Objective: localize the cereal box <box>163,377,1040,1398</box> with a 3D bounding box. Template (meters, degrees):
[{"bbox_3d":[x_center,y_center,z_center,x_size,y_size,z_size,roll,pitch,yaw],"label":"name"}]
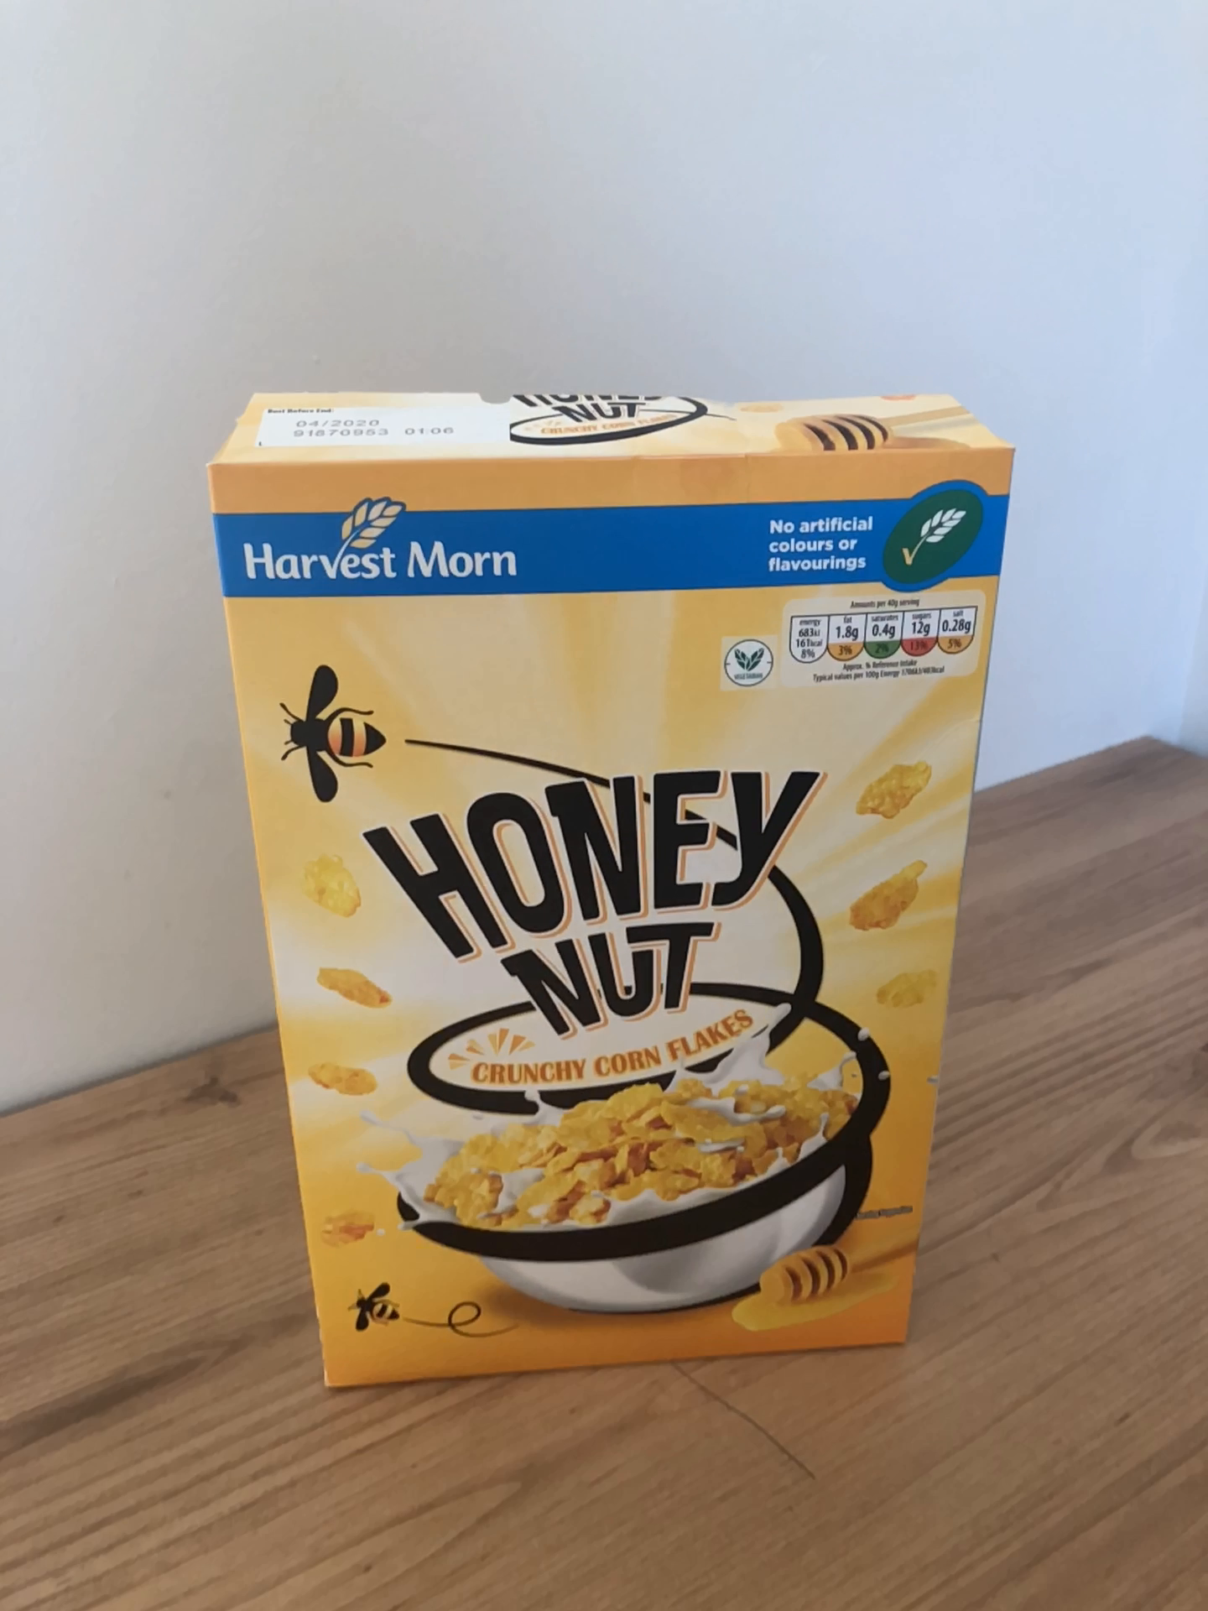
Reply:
[{"bbox_3d":[0.000,0.035,0.395,0.200,0.298,0.060,-2,25,-4],"label":"cereal box"}]
